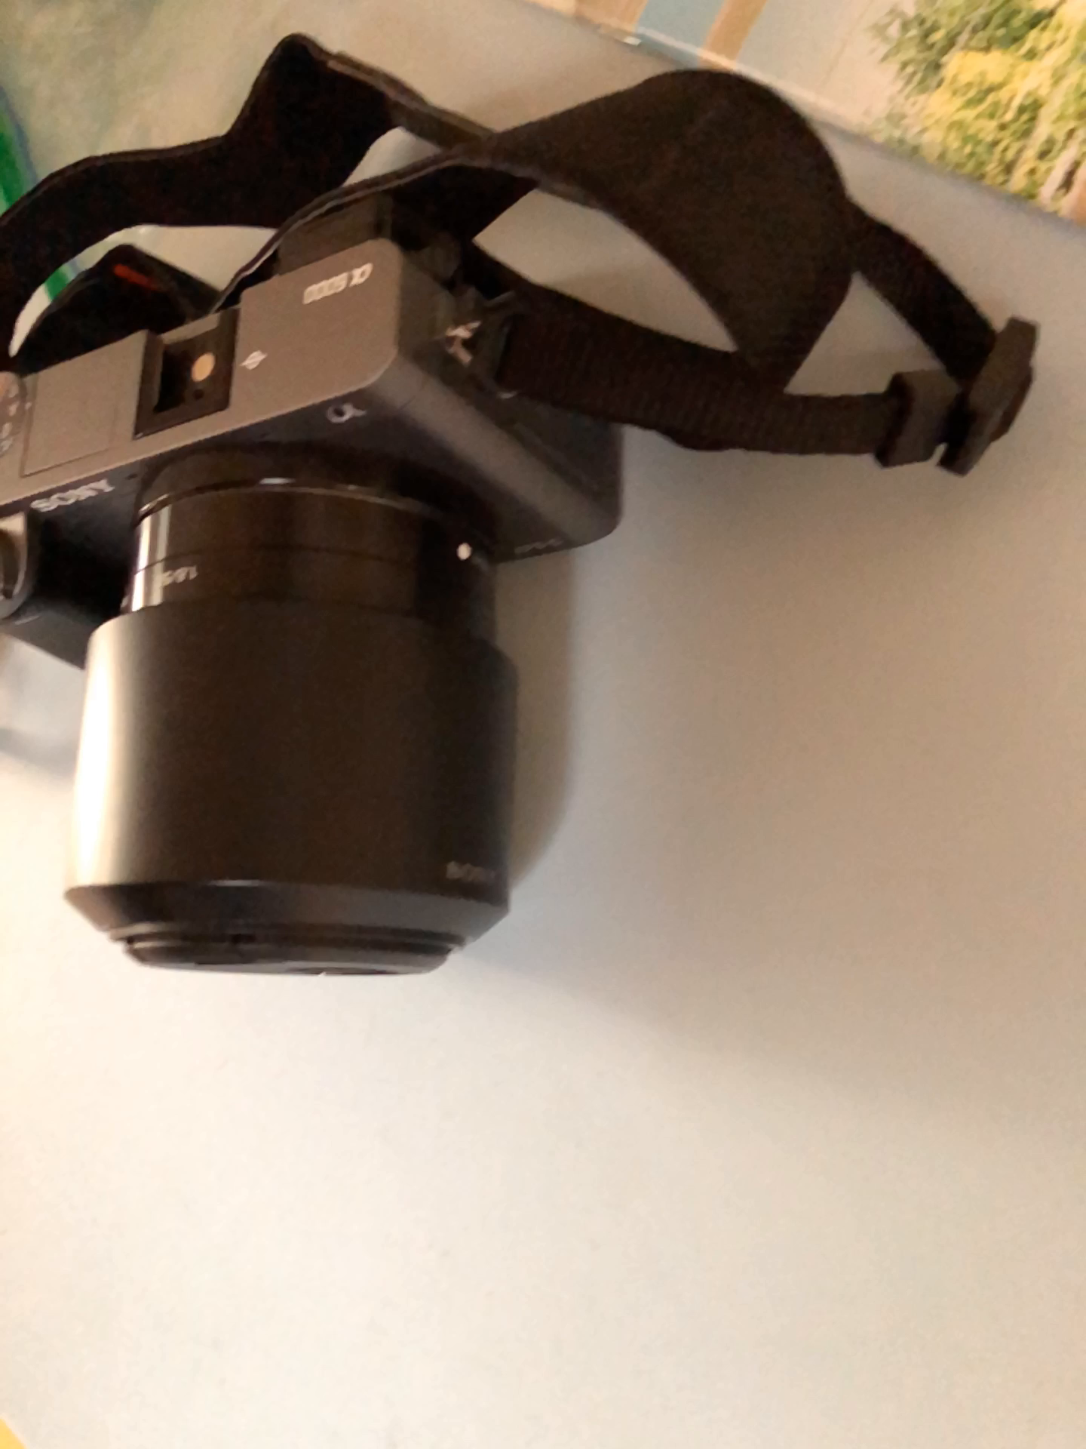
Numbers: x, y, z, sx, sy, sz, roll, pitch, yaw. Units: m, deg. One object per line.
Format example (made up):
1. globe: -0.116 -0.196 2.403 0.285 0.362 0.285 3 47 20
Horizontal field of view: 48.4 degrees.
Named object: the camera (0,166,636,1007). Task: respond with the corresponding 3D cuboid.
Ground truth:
1. camera: -0.058 -0.008 0.213 0.130 0.070 0.110 -7 75 31
